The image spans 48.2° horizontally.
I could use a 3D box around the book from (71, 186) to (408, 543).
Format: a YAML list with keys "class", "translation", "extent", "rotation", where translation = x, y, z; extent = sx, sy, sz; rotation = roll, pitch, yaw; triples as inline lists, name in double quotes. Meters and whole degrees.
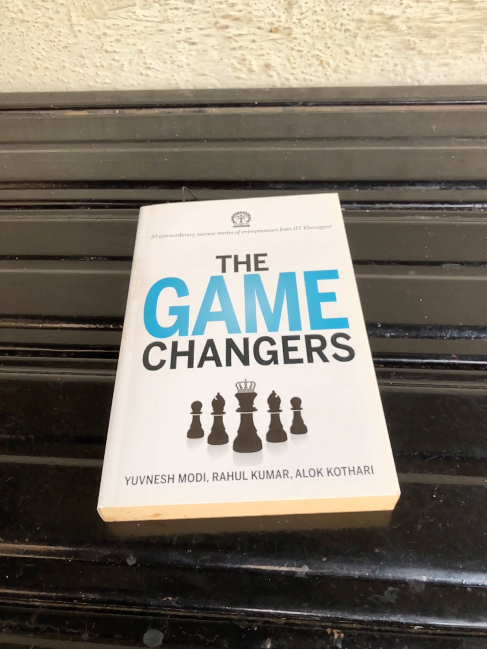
- class: "book"
  translation: [-0.004, 0.005, 0.303]
  extent: [0.140, 0.030, 0.211]
  rotation: [-3, 51, 2]
